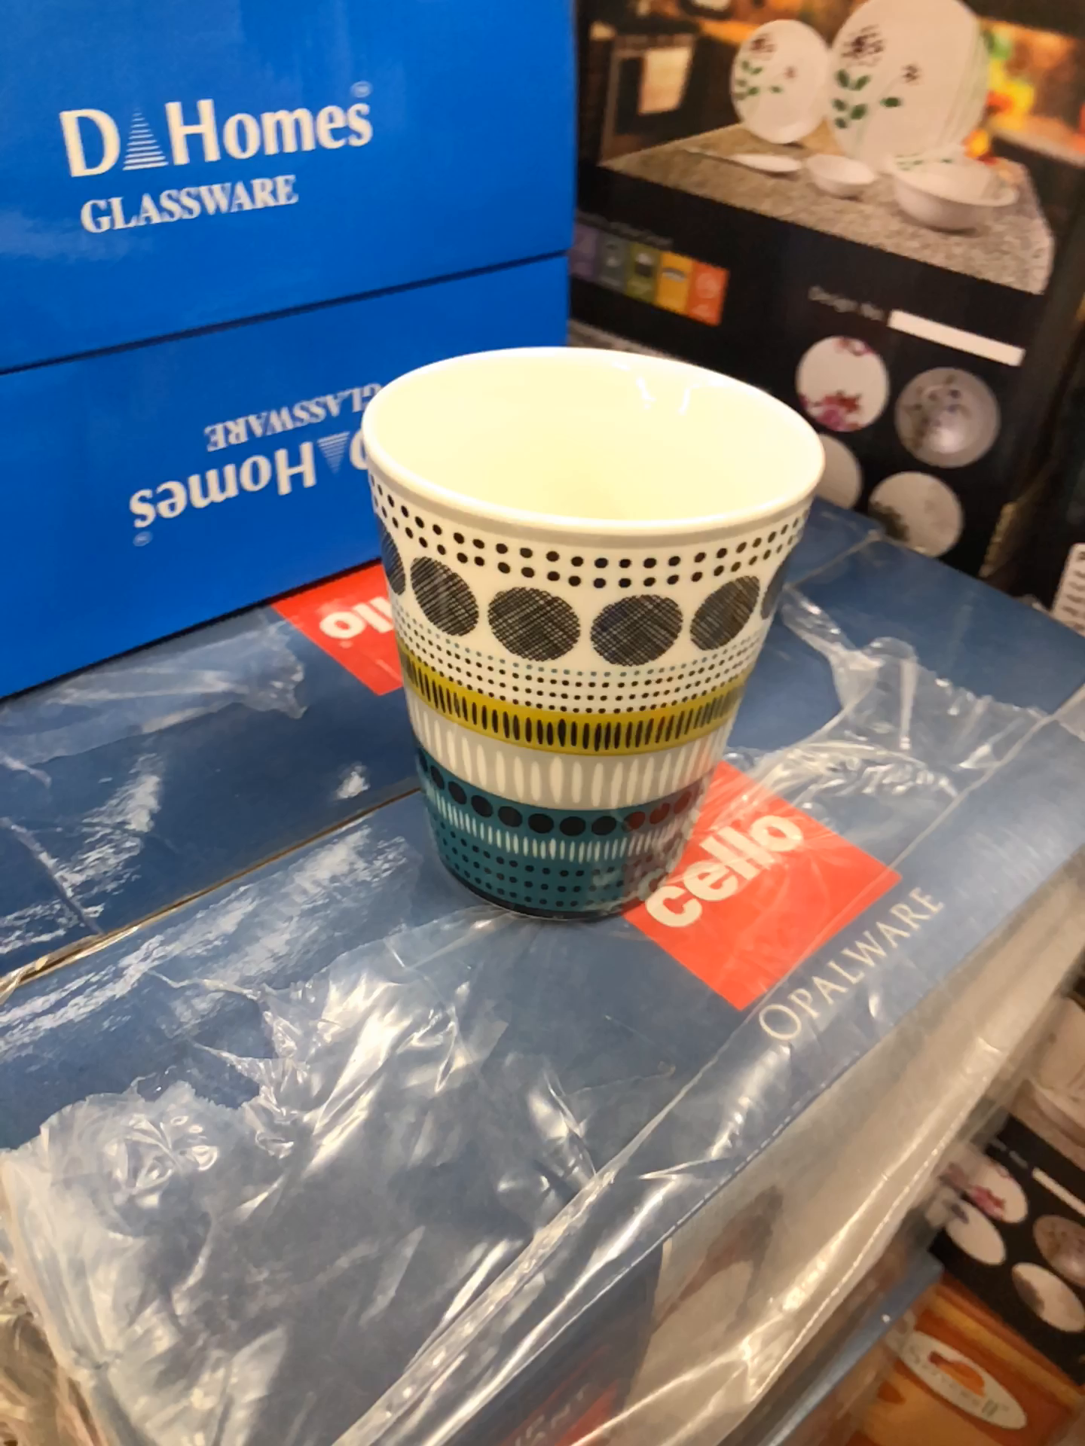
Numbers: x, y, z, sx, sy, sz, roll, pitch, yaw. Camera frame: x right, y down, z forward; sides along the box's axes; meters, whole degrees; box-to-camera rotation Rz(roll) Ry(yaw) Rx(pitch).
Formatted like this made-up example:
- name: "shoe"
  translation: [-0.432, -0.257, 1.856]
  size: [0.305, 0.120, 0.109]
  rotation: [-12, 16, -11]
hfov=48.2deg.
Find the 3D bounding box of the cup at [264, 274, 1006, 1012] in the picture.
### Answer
- name: "cup"
  translation: [0.019, -0.027, 0.260]
  size: [0.090, 0.089, 0.121]
  rotation: [30, 44, 27]
